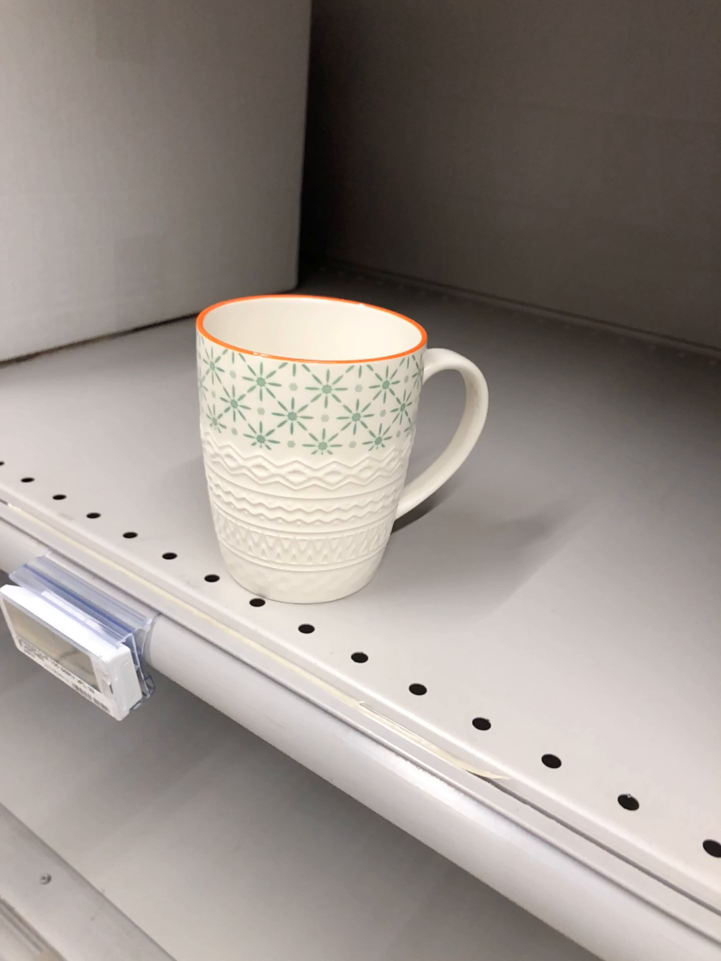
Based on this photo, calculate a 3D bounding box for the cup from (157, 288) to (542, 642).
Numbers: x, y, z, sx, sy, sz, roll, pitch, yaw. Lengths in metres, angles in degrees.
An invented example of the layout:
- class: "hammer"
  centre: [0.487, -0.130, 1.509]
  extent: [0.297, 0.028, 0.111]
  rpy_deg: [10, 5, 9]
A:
- class: "cup"
  centre: [-0.009, -0.016, 0.319]
  extent: [0.118, 0.100, 0.092]
  rpy_deg: [-9, 25, -23]
